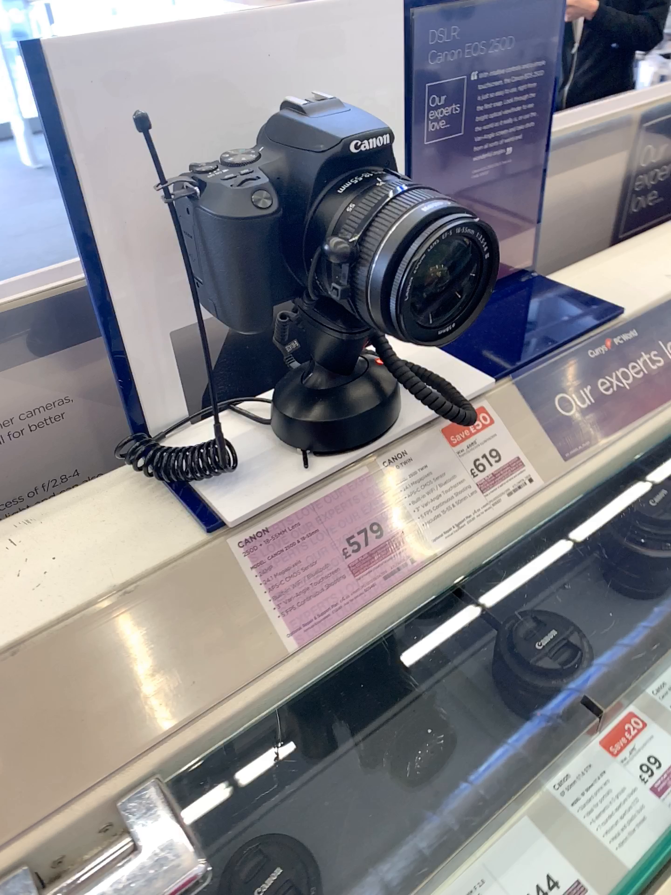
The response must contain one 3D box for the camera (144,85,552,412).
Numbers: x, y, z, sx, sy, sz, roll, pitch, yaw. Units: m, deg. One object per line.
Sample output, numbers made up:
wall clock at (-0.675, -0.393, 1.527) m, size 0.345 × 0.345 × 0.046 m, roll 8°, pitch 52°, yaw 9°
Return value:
camera at (0.003, -0.107, 0.334) m, size 0.120 × 0.089 × 0.141 m, roll -28°, pitch 44°, yaw -28°
